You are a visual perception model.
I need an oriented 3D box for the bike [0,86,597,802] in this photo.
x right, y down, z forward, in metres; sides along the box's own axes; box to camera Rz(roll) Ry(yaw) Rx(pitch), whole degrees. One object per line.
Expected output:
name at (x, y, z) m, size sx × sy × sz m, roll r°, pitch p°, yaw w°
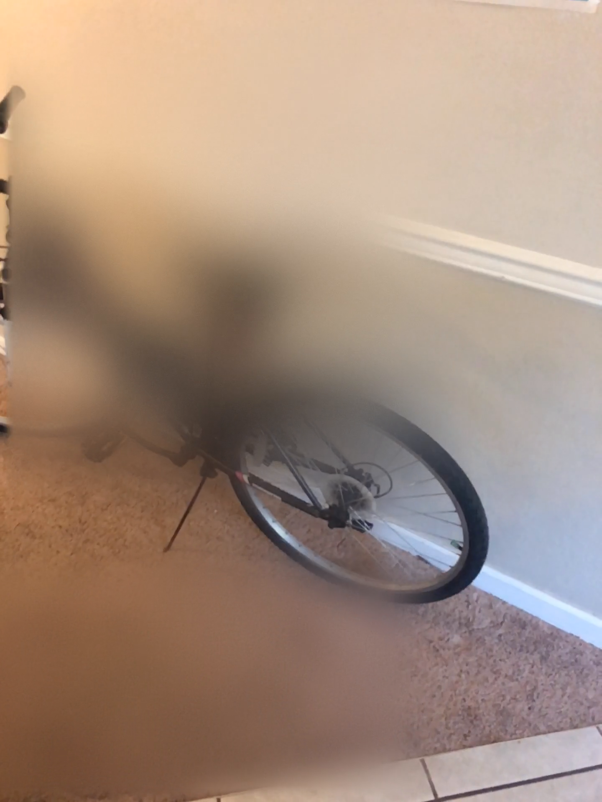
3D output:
bike at (-0.430, -0.016, 1.679) m, size 1.865 × 1.177 × 0.682 m, roll 16°, pitch 34°, yaw 17°
